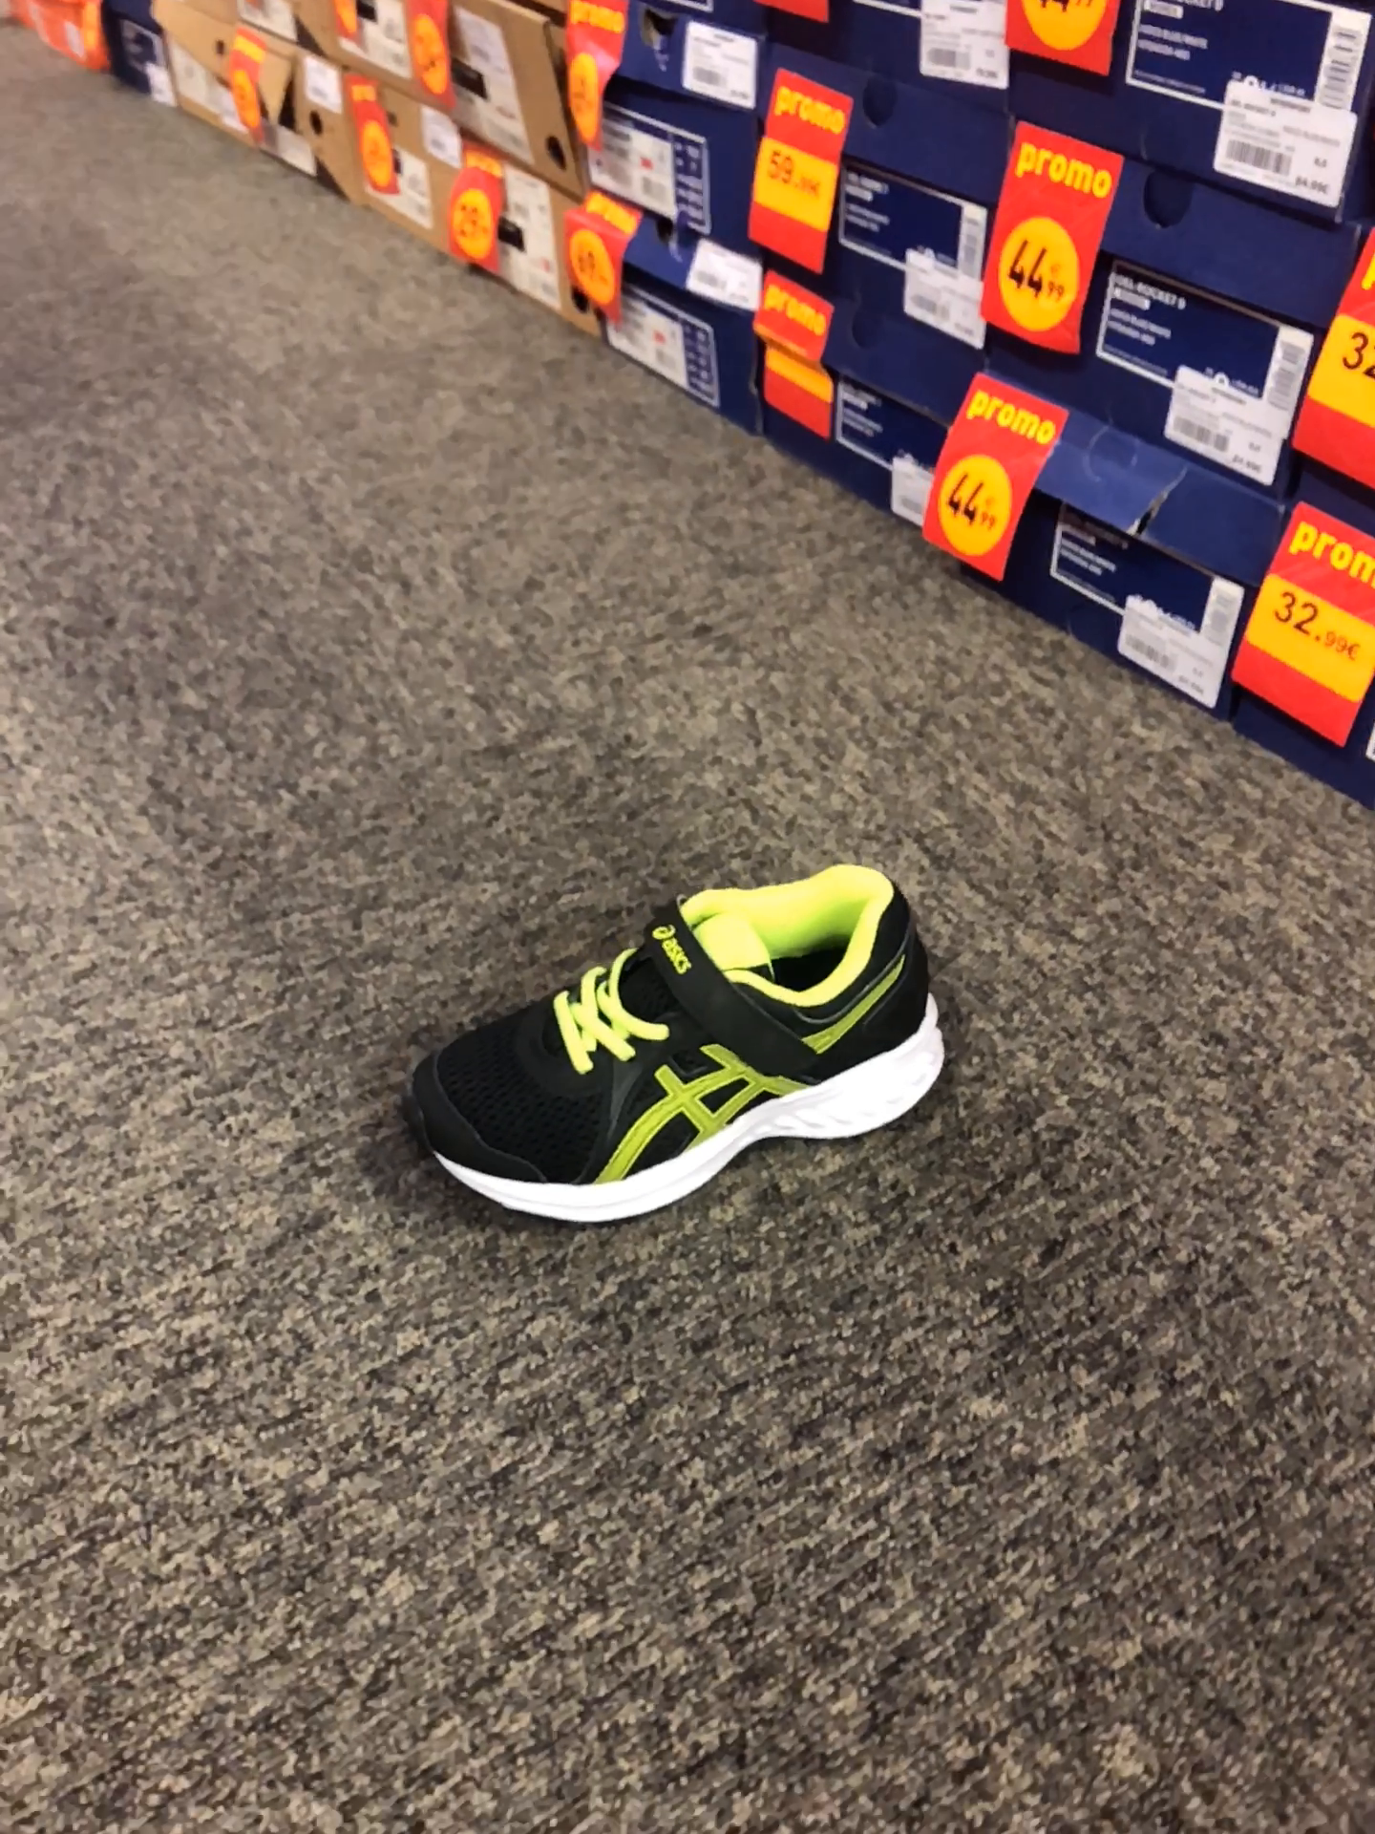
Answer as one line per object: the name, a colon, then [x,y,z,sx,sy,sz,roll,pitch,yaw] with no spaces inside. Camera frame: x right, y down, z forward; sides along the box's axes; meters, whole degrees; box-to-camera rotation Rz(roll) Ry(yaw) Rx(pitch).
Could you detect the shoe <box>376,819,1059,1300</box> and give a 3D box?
shoe: [0.007,0.043,0.510,0.200,0.080,0.090,-12,42,-13]
